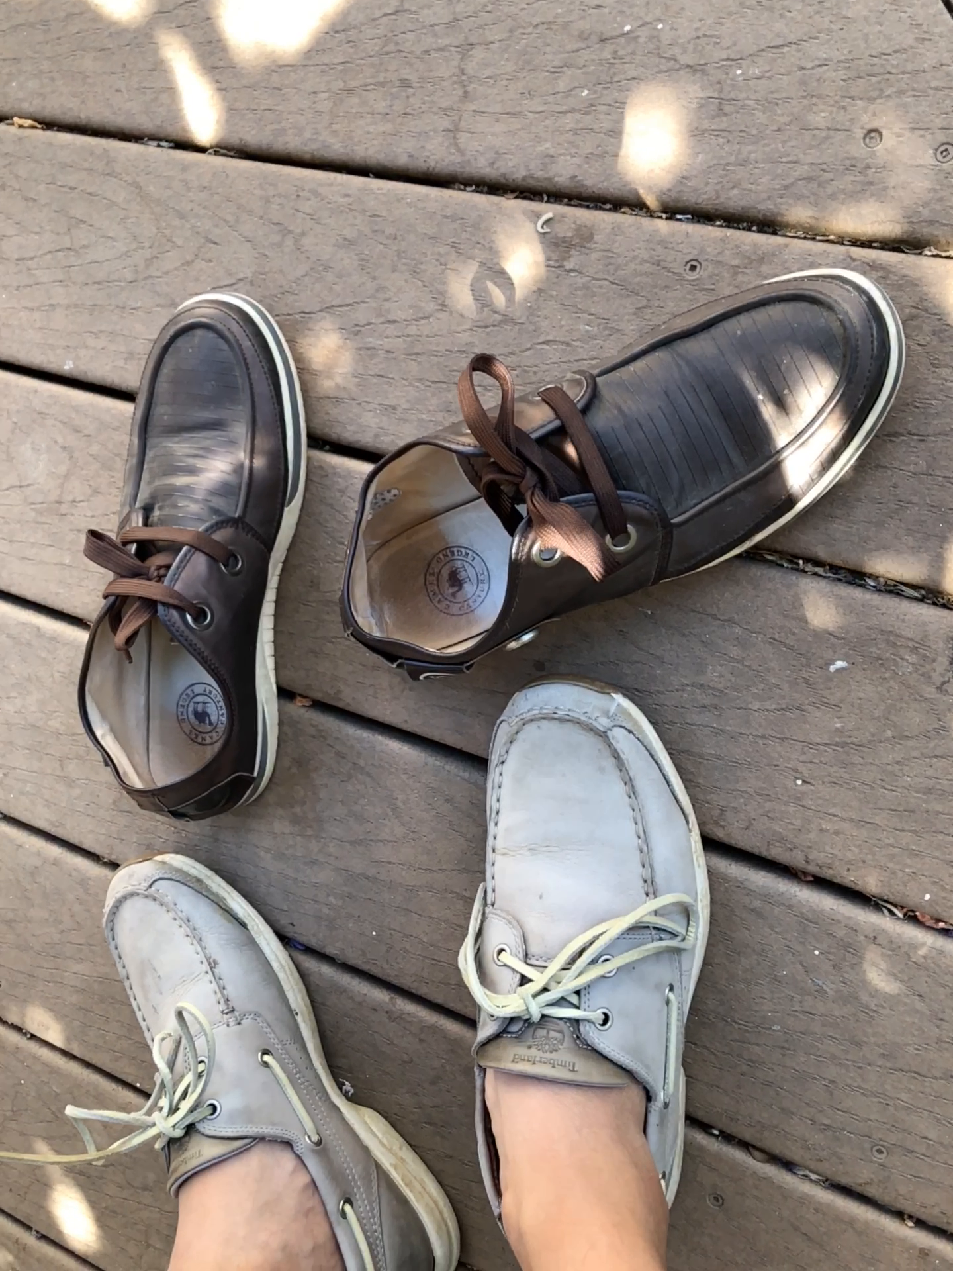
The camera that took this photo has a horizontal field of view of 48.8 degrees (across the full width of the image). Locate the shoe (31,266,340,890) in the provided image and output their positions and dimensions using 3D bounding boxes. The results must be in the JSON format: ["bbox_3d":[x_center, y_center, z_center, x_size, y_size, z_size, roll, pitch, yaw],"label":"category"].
[{"bbox_3d":[-0.148,-0.029,0.525,0.109,0.069,0.279,13,103,20],"label":"shoe"}]

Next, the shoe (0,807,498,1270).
[{"bbox_3d":[-0.127,0.251,0.551,0.109,0.086,0.292,-37,83,21],"label":"shoe"}]

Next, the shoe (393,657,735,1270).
[{"bbox_3d":[0.046,0.163,0.474,0.109,0.101,0.293,-2,96,22],"label":"shoe"}]

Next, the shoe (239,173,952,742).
[{"bbox_3d":[0.047,-0.060,0.448,0.277,0.079,0.109,-24,88,23],"label":"shoe"}]
